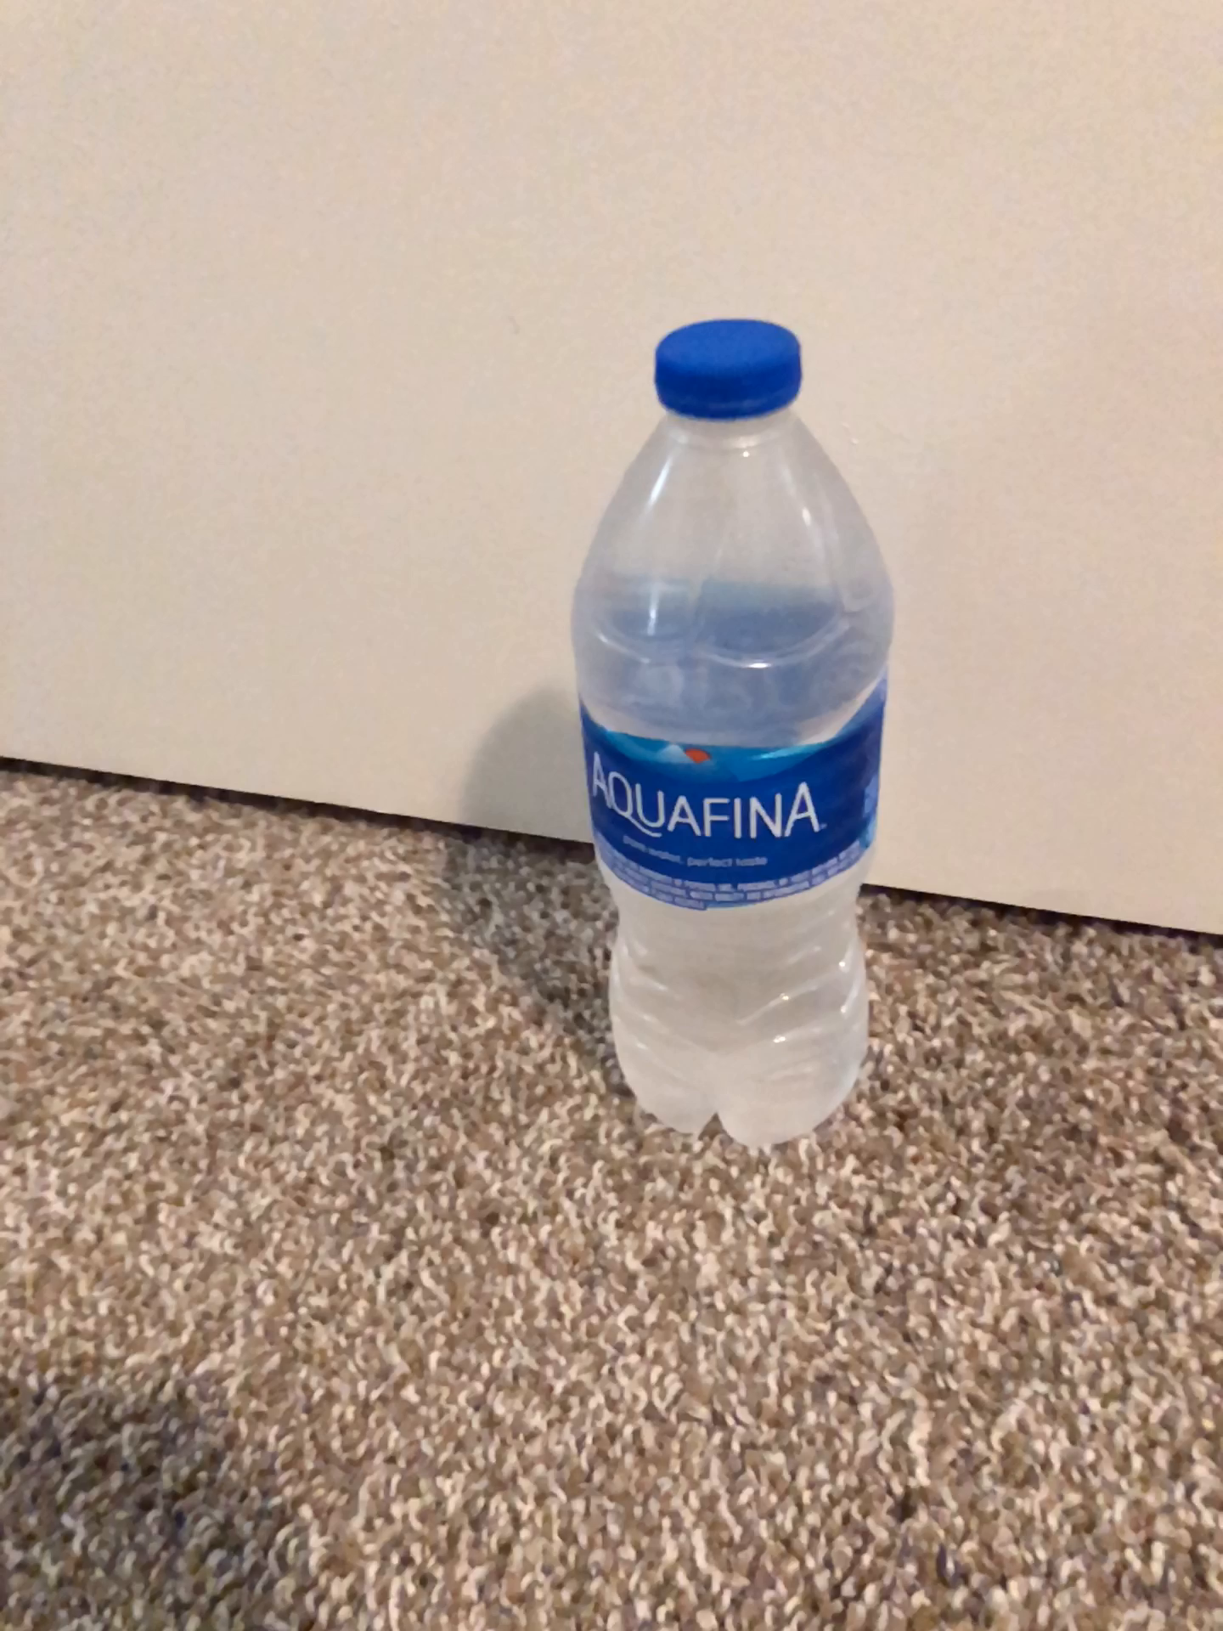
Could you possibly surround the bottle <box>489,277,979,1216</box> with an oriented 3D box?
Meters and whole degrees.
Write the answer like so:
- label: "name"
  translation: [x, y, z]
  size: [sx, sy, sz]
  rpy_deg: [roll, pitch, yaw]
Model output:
- label: "bottle"
  translation: [0.030, -0.008, 0.297]
  size: [0.070, 0.189, 0.070]
  rpy_deg: [-3, 37, 2]
